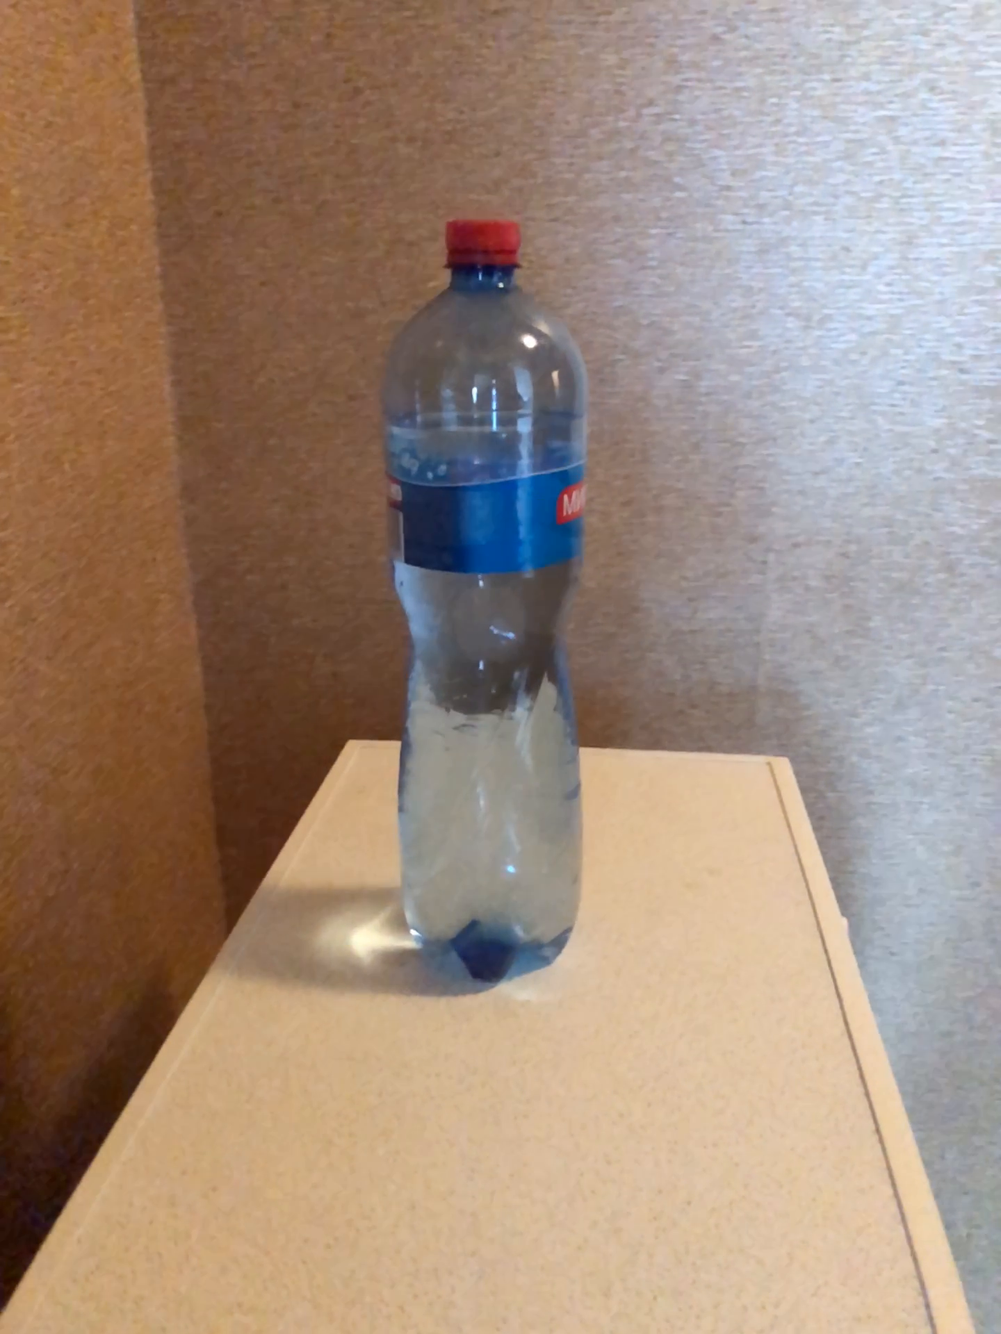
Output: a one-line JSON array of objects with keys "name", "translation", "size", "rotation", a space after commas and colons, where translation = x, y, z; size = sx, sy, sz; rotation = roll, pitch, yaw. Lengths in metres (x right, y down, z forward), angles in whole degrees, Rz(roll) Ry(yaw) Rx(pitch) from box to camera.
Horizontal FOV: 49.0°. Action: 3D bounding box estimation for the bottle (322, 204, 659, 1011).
[{"name": "bottle", "translation": [-0.006, -0.027, 0.484], "size": [0.100, 0.318, 0.100], "rotation": [0, 18, 0]}]
